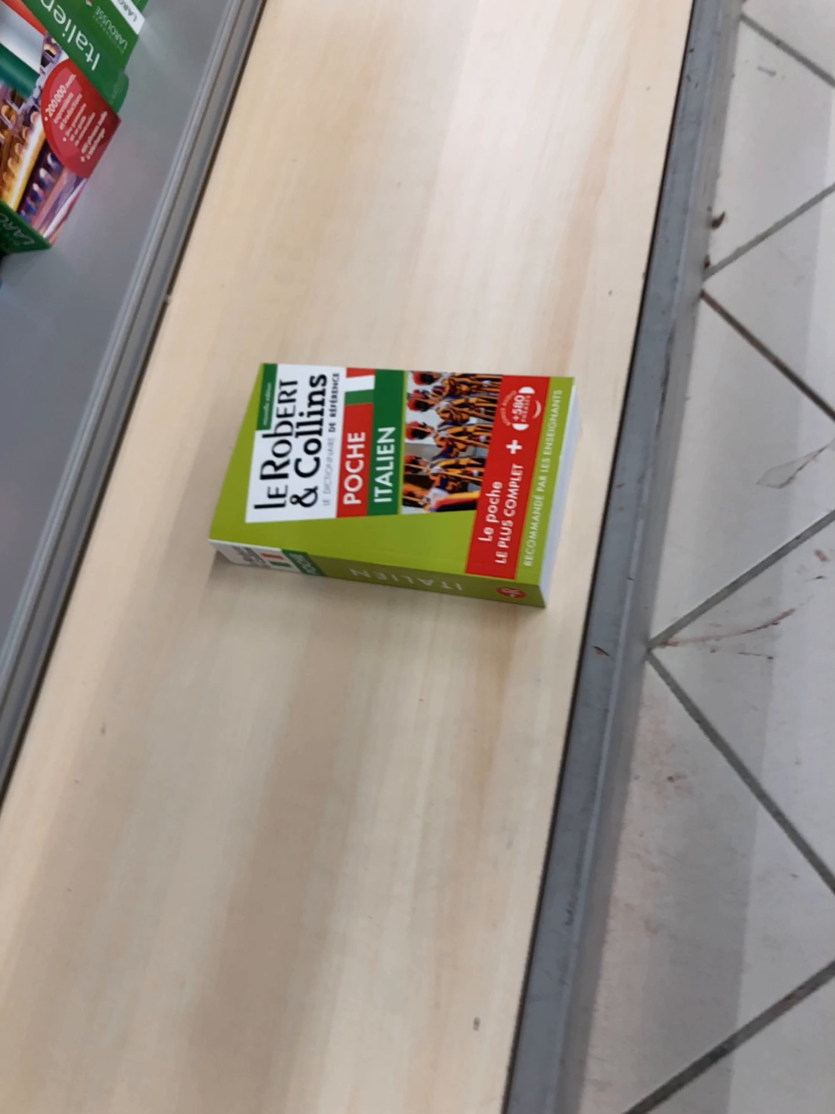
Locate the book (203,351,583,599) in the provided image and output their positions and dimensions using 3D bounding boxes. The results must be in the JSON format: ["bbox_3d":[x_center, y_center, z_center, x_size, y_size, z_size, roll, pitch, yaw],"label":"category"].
[{"bbox_3d":[-0.010,-0.046,0.483,0.175,0.040,0.110,6,69,17],"label":"book"}]
